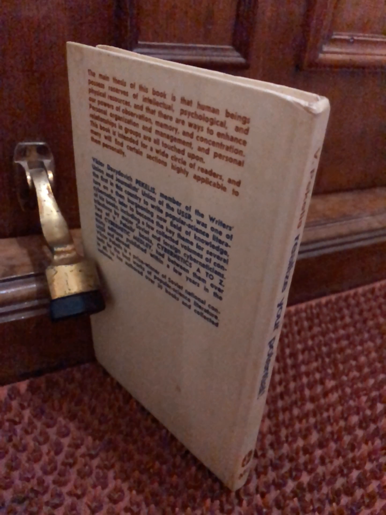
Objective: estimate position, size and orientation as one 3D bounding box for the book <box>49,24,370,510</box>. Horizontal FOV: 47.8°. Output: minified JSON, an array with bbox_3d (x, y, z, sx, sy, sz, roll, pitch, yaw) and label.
[{"bbox_3d":[-0.015,0.007,0.226,0.030,0.209,0.150,-23,42,-36],"label":"book"}]
